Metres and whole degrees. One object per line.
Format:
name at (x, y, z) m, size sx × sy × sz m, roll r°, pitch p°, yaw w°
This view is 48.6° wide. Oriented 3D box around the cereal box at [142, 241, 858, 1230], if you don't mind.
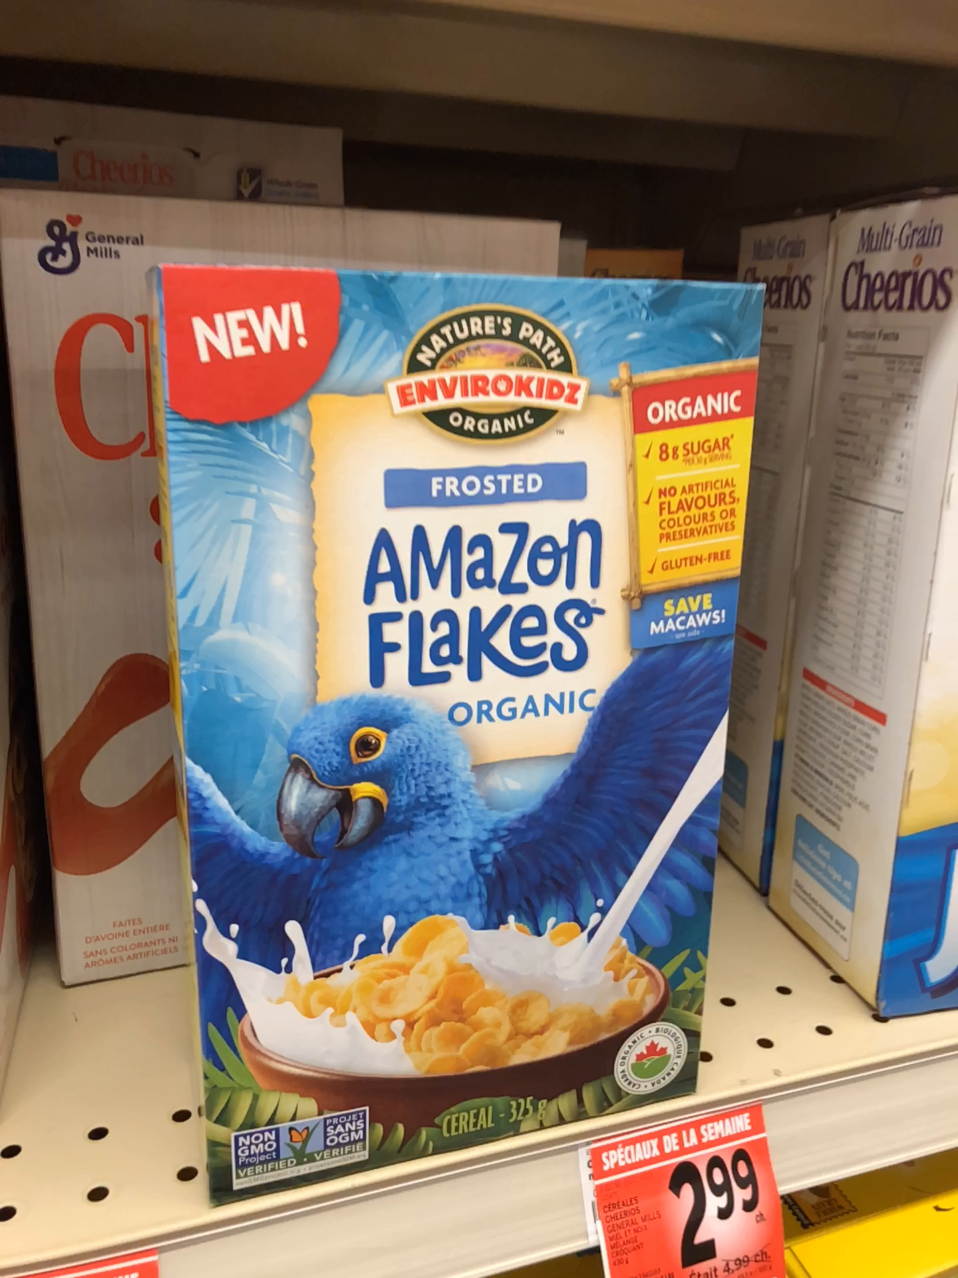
cereal box at (0.003, 0.026, 0.298) m, size 0.170 × 0.249 × 0.050 m, roll -4°, pitch 18°, yaw -19°
